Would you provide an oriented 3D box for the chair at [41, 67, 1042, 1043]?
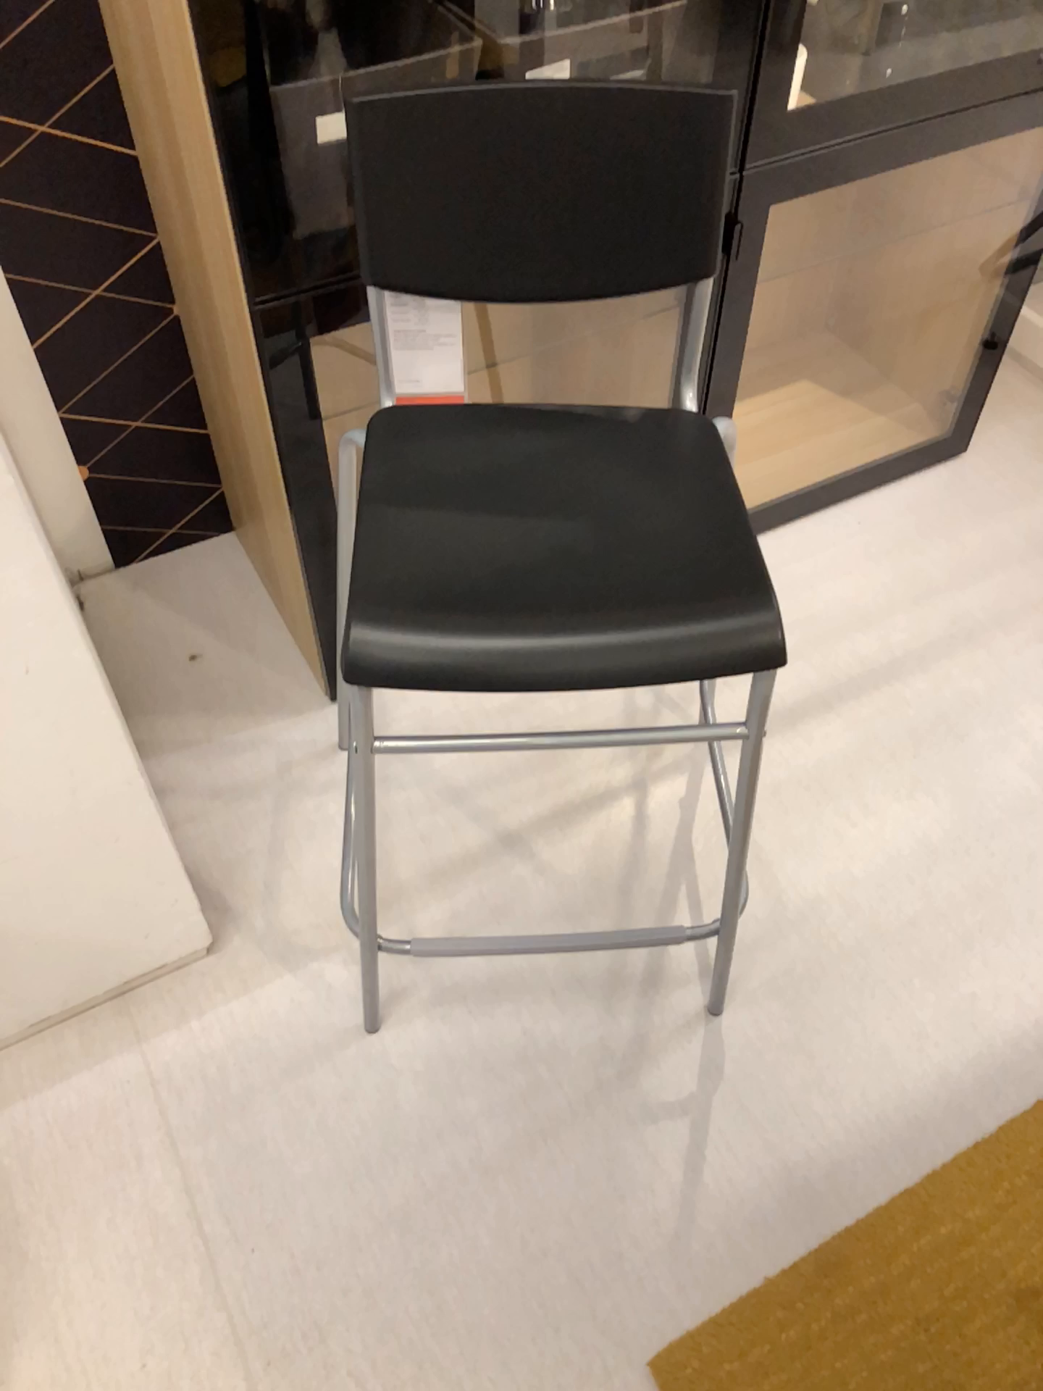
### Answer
[{"bbox_3d":[0.005,-0.072,1.061,0.540,0.766,0.483,-2,51,-1],"label":"chair"}]
